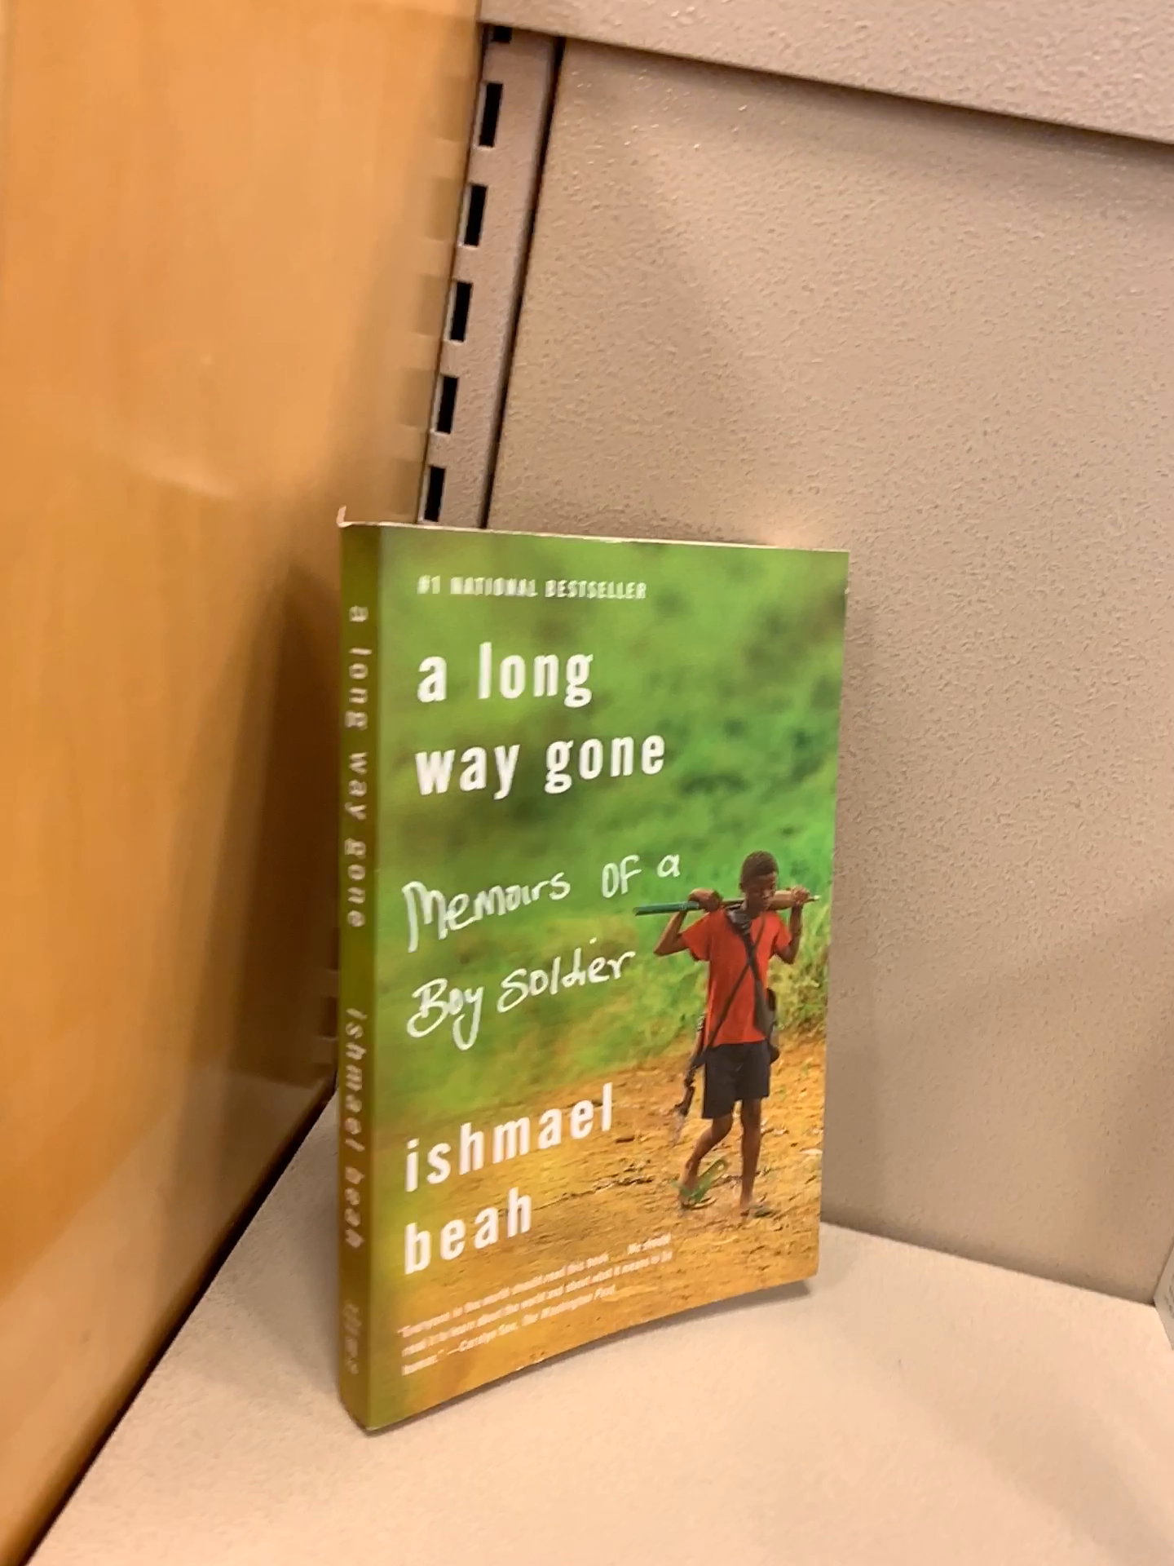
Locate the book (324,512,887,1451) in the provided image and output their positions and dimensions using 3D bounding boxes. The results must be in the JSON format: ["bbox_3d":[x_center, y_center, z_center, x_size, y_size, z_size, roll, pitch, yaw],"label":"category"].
[{"bbox_3d":[0.007,0.044,0.303,0.140,0.210,0.020,-3,12,-31],"label":"book"}]
